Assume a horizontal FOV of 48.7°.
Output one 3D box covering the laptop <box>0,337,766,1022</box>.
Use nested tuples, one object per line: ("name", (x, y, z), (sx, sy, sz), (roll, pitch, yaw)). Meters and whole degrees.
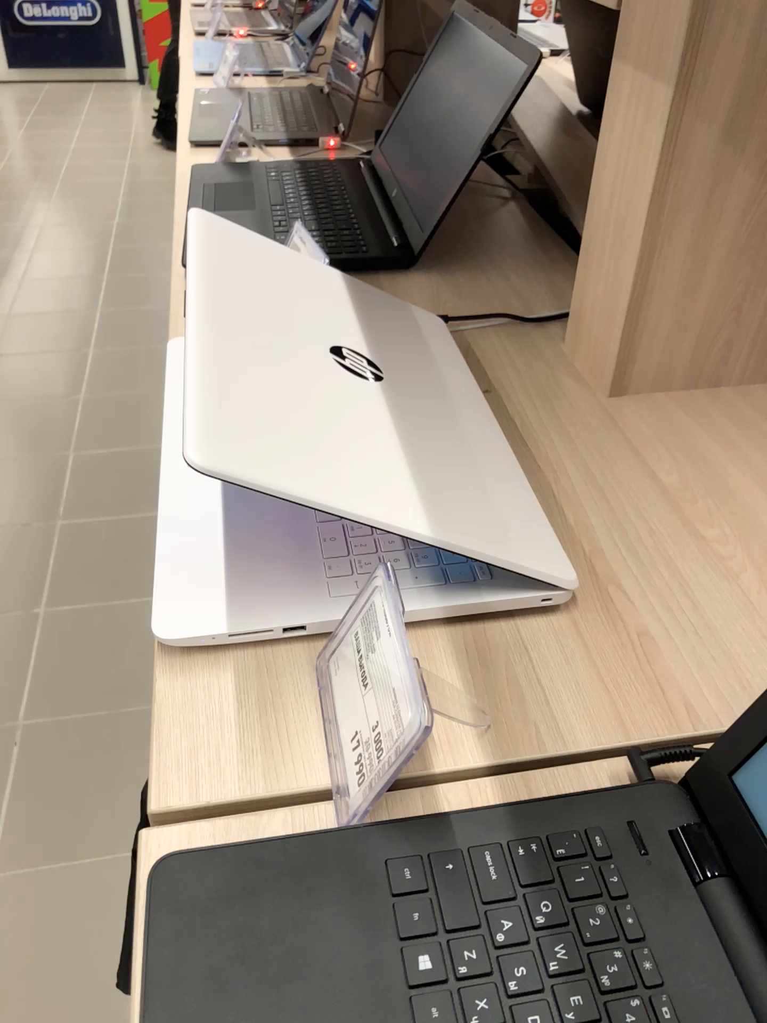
("laptop", (0.115, 0.165, 0.179), (0.349, 0.219, 0.393), (-5, 39, -9))

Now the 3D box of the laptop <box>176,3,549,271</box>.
("laptop", (-0.041, -0.476, 1.034), (0.368, 0.203, 0.388), (-4, 38, -8))

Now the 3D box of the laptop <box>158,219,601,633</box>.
("laptop", (-0.031, -0.093, 0.615), (0.232, 0.103, 0.370), (-6, 37, -7))
